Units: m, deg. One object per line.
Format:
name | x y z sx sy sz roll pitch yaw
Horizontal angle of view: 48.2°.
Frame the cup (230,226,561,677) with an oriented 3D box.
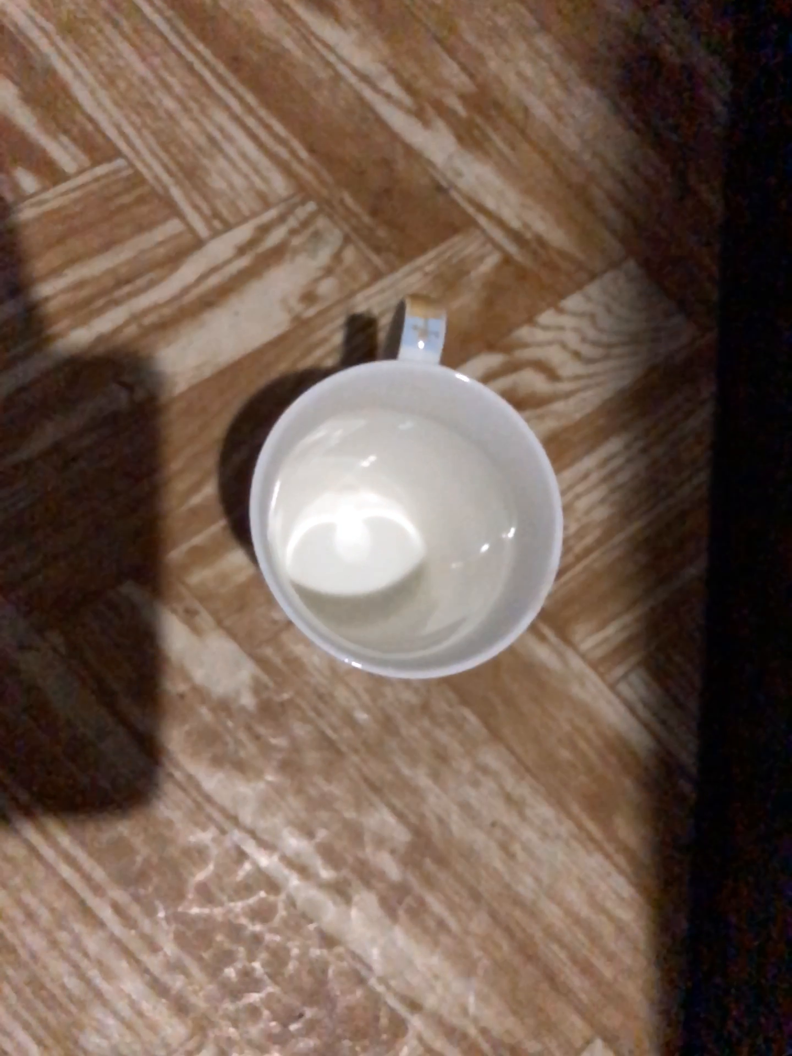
cup | -0.005 -0.013 0.269 0.079 0.090 0.111 4 80 -12
